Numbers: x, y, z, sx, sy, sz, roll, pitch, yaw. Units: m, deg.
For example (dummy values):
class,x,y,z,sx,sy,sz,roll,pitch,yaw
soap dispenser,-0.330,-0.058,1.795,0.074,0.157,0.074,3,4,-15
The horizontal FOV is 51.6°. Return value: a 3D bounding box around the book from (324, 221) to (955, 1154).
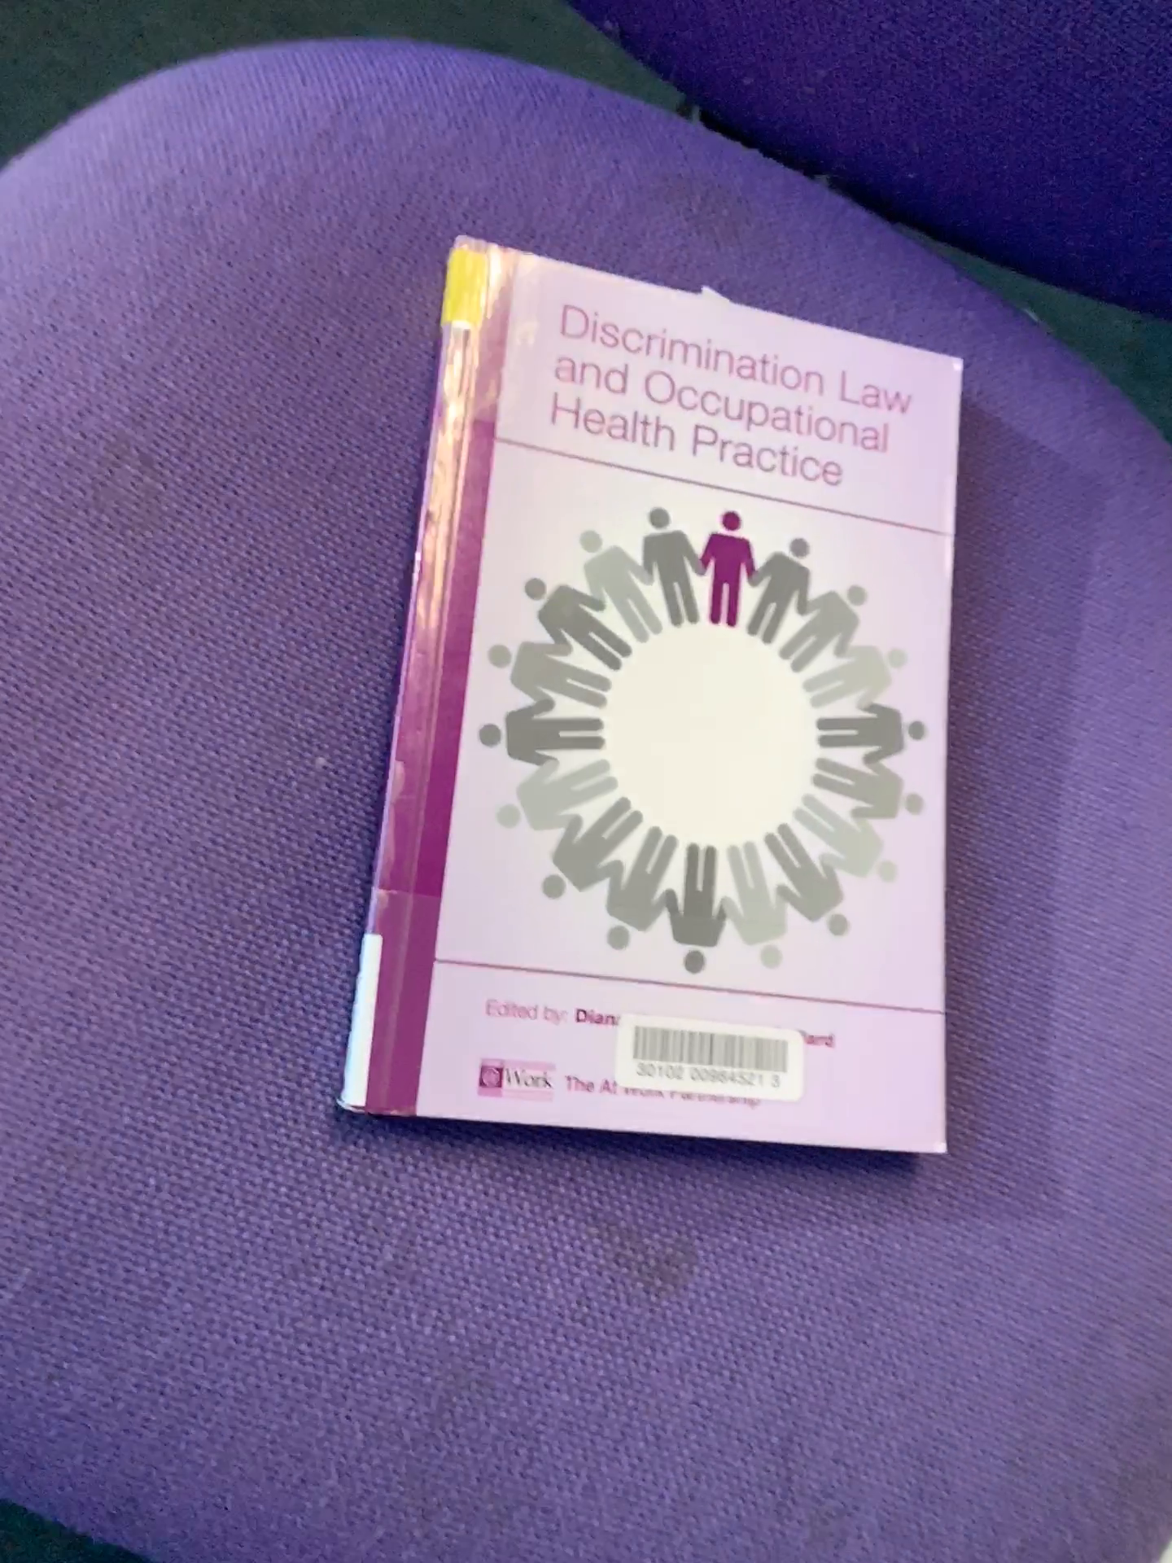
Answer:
class,x,y,z,sx,sy,sz,roll,pitch,yaw
book,0.024,-0.026,0.334,0.158,0.022,0.235,8,77,-14
